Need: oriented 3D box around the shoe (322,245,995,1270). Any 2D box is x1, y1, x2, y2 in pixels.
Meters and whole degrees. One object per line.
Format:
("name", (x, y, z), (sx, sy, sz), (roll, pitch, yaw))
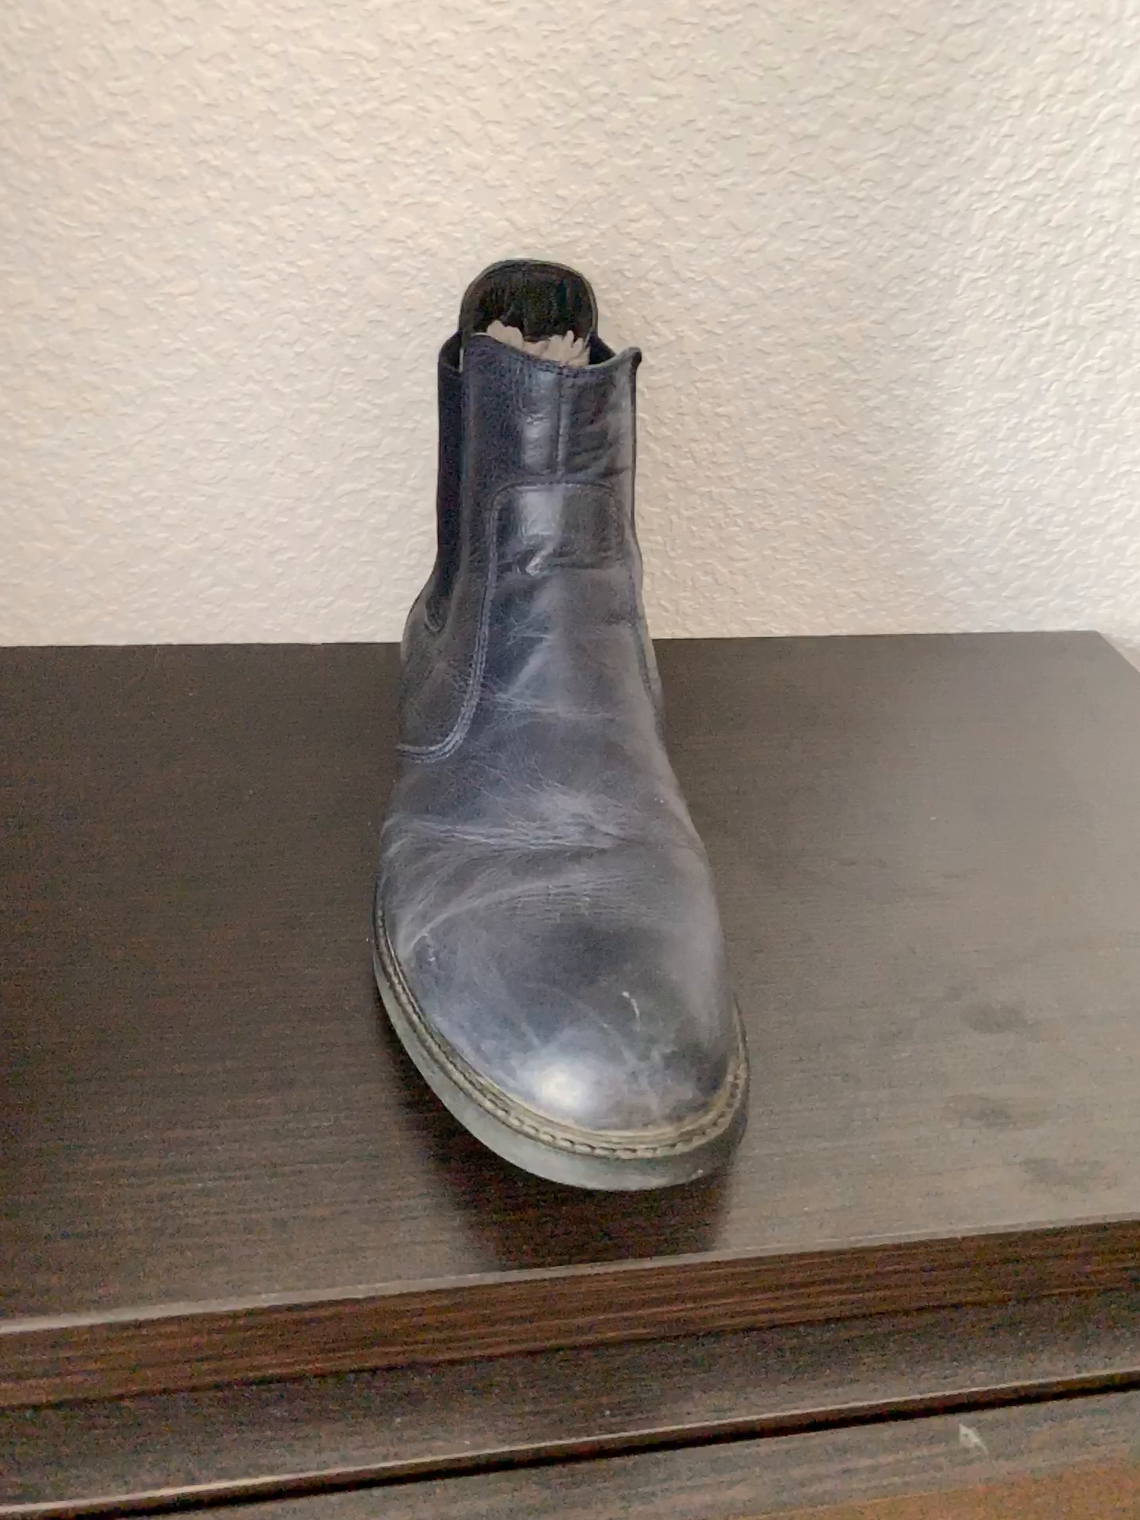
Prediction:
("shoe", (-0.008, -0.035, 0.354), (0.110, 0.159, 0.302), (-1, 35, -8))
